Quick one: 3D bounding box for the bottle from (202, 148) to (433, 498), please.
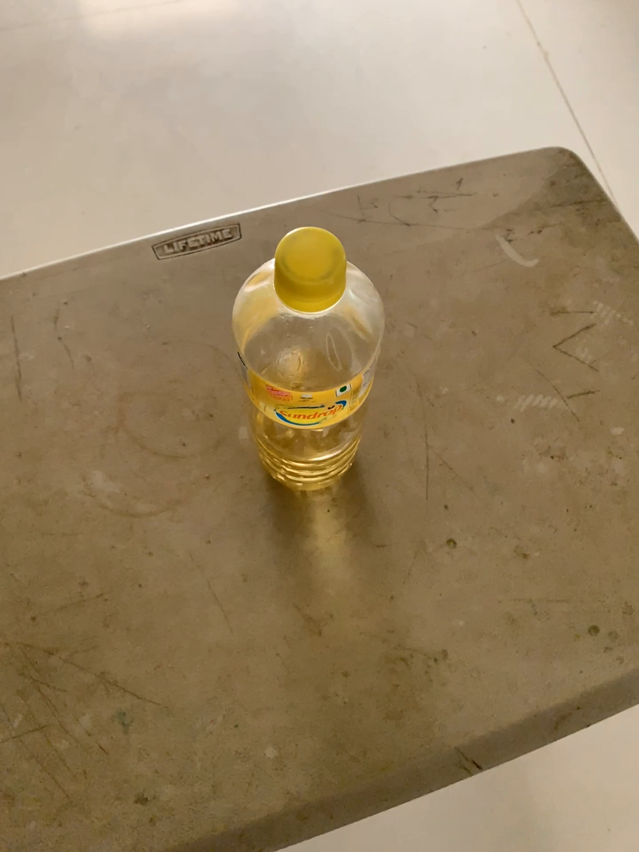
[{"bbox_3d":[-0.007,-0.034,0.403,0.090,0.270,0.090,1,71,-1],"label":"bottle"}]
